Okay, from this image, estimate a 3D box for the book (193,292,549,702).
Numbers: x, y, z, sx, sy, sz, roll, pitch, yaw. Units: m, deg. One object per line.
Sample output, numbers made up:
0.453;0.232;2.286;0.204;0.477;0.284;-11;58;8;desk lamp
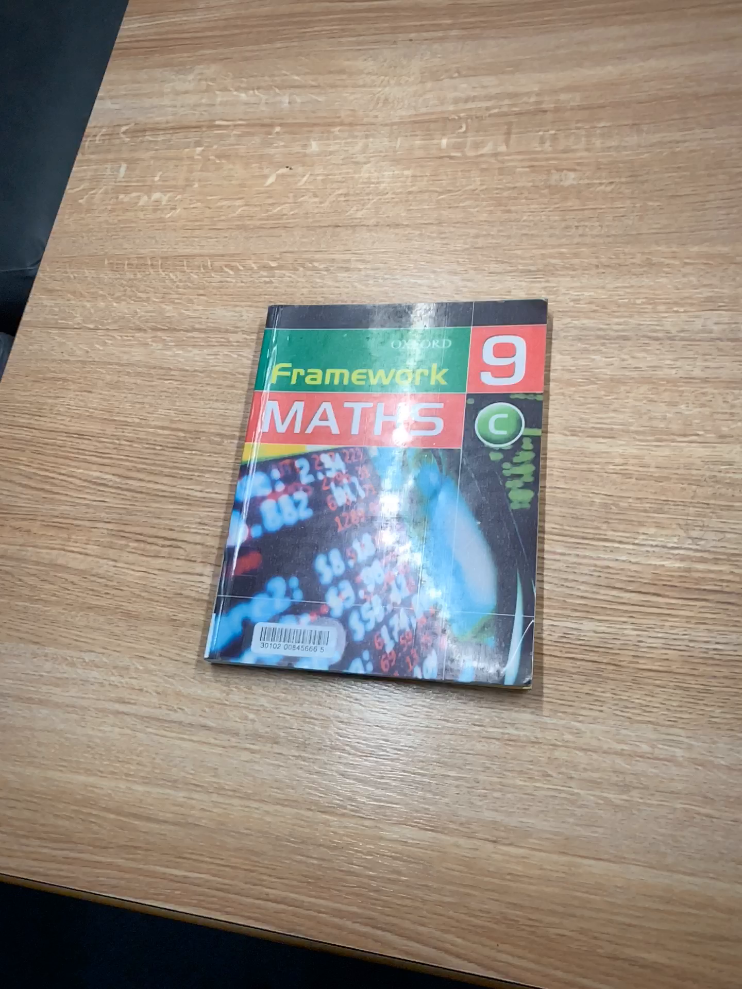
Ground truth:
0.007;-0.010;0.458;0.190;0.020;0.244;2;70;12;book
